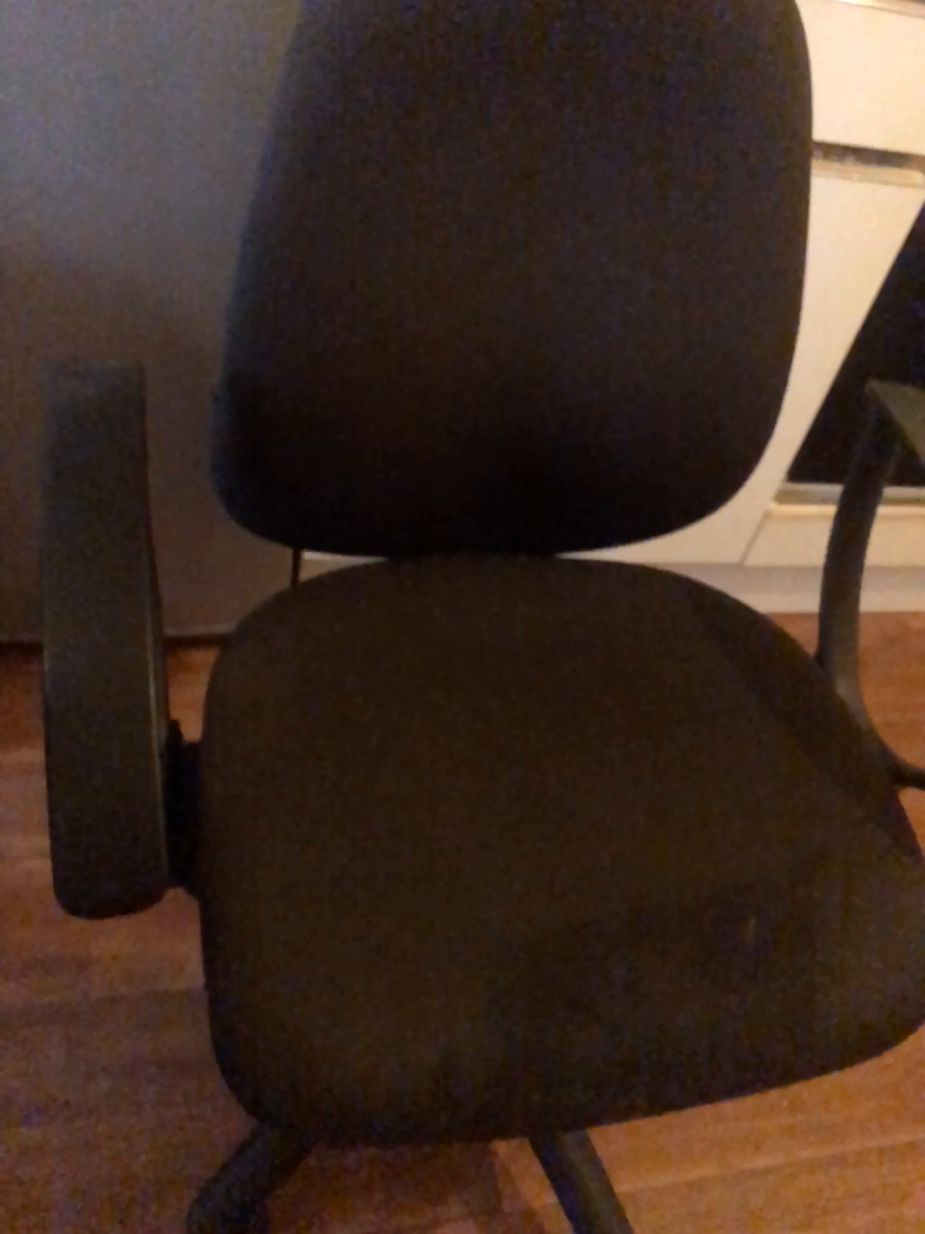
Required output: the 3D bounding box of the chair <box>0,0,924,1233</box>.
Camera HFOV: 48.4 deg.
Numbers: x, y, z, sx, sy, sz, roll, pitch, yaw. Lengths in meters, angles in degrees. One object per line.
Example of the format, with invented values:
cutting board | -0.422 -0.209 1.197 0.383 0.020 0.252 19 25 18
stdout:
chair | 0.076 0.080 0.745 0.637 0.881 0.645 -2 48 -16
